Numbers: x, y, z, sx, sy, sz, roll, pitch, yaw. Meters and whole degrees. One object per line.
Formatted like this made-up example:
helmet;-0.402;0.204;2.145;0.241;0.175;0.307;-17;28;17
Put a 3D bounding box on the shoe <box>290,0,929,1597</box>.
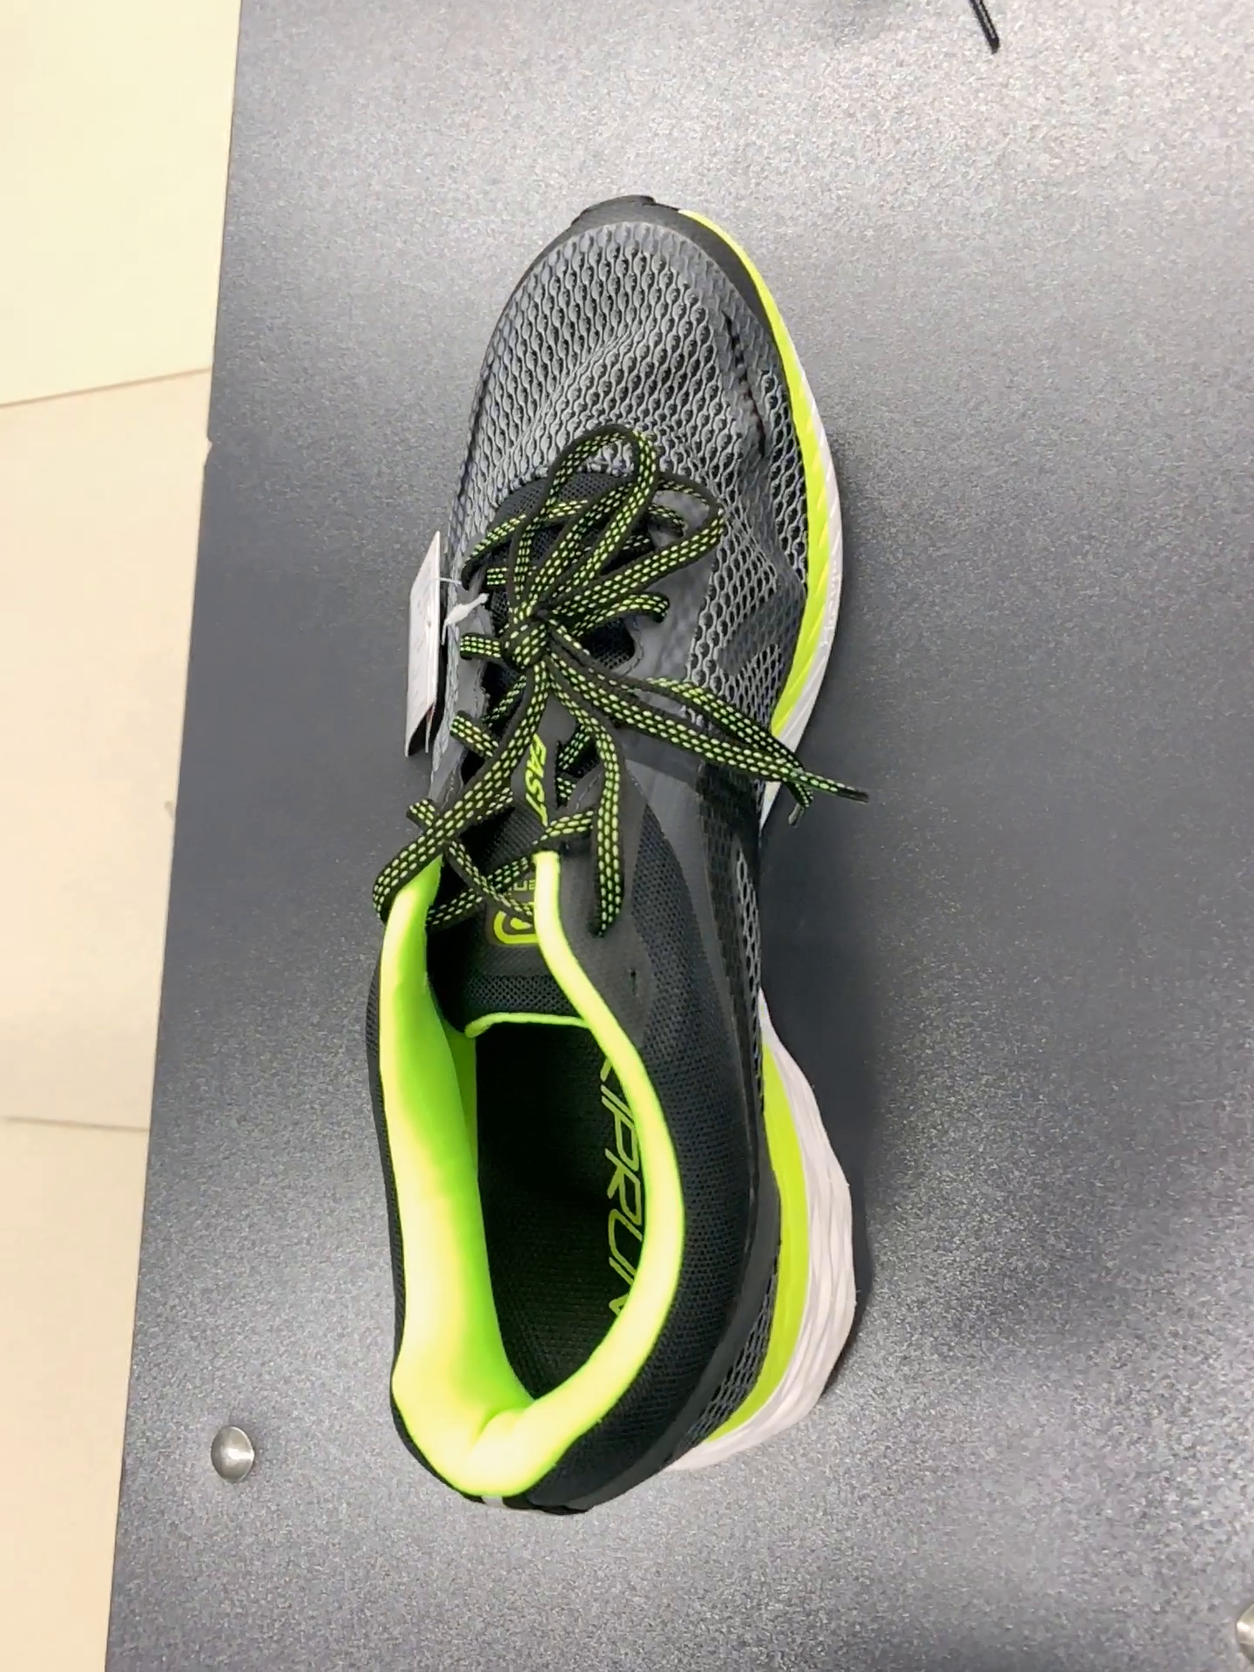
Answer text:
shoe;0.003;-0.014;0.312;0.110;0.110;0.310;-4;81;21
